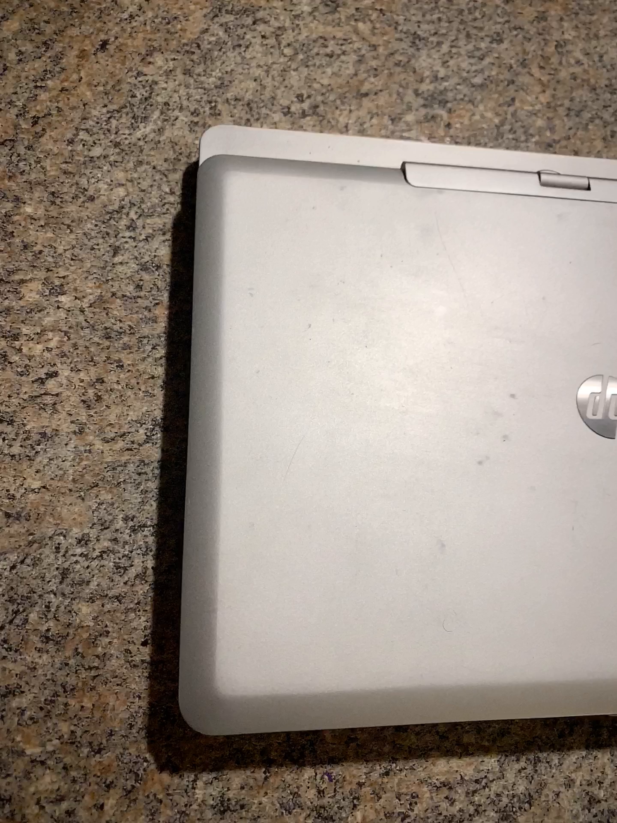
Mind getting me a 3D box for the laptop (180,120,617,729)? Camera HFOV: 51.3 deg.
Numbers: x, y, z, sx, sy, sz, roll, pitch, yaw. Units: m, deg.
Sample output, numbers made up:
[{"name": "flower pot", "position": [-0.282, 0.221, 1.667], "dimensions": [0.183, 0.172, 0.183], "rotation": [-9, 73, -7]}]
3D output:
[{"name": "laptop", "position": [0.098, -0.008, 0.215], "dimensions": [0.267, 0.005, 0.194], "rotation": [2, 69, -8]}]
